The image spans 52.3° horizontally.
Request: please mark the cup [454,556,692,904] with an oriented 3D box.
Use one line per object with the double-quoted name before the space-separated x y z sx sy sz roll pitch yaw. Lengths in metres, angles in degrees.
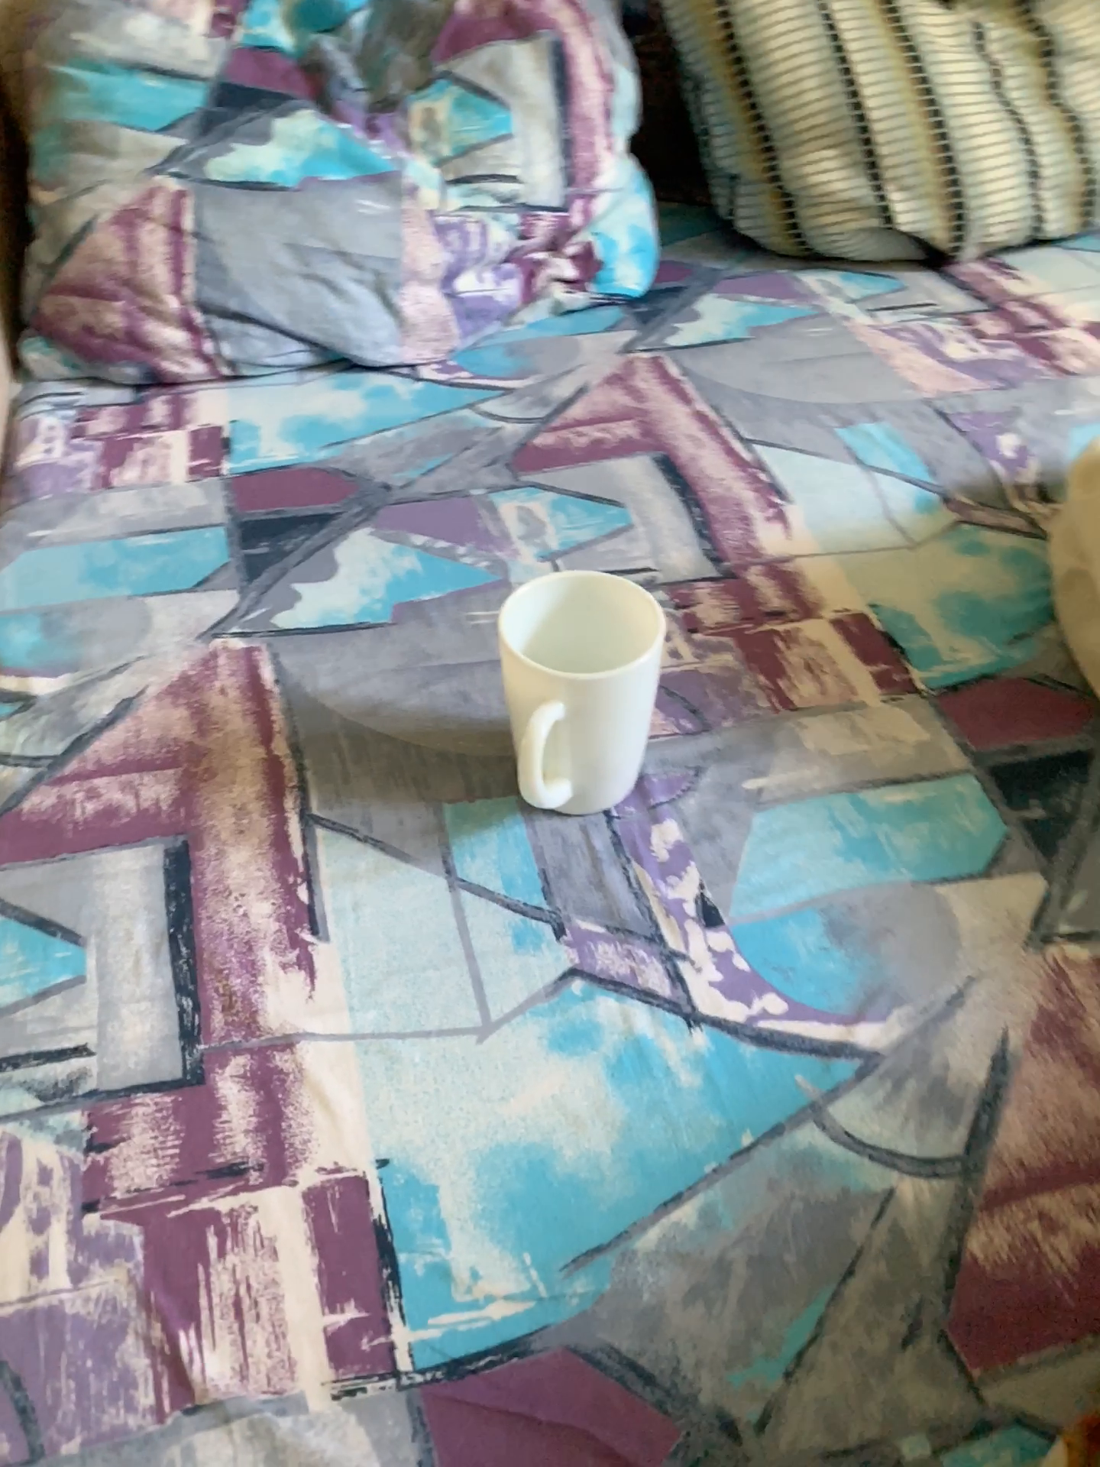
"cup" 0.015 -0.004 0.537 0.080 0.099 0.121 10 46 11
